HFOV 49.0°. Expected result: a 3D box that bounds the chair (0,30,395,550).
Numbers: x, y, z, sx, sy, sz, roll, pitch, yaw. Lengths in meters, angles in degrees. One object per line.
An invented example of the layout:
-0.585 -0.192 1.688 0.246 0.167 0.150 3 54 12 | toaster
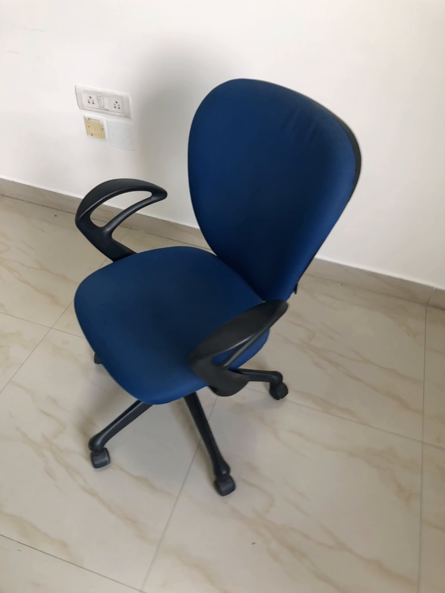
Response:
-0.132 -0.024 1.243 0.651 0.914 0.703 27 49 21 | chair
